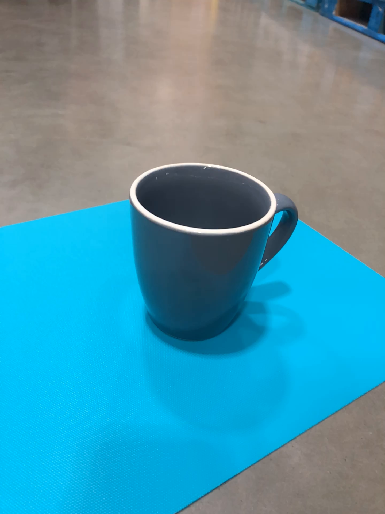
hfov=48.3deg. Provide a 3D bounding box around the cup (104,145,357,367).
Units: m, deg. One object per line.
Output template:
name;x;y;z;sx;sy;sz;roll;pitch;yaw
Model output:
cup;0.022;-0.011;0.289;0.130;0.080;0.090;-20;43;-32
